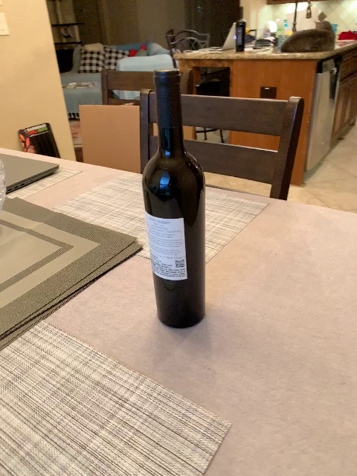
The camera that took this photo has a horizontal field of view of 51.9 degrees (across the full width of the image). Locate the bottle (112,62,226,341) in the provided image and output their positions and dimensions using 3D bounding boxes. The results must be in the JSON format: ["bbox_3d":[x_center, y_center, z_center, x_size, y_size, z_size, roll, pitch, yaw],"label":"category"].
[{"bbox_3d":[0.000,-0.034,0.459,0.083,0.328,0.090,-2,30,1],"label":"bottle"}]
